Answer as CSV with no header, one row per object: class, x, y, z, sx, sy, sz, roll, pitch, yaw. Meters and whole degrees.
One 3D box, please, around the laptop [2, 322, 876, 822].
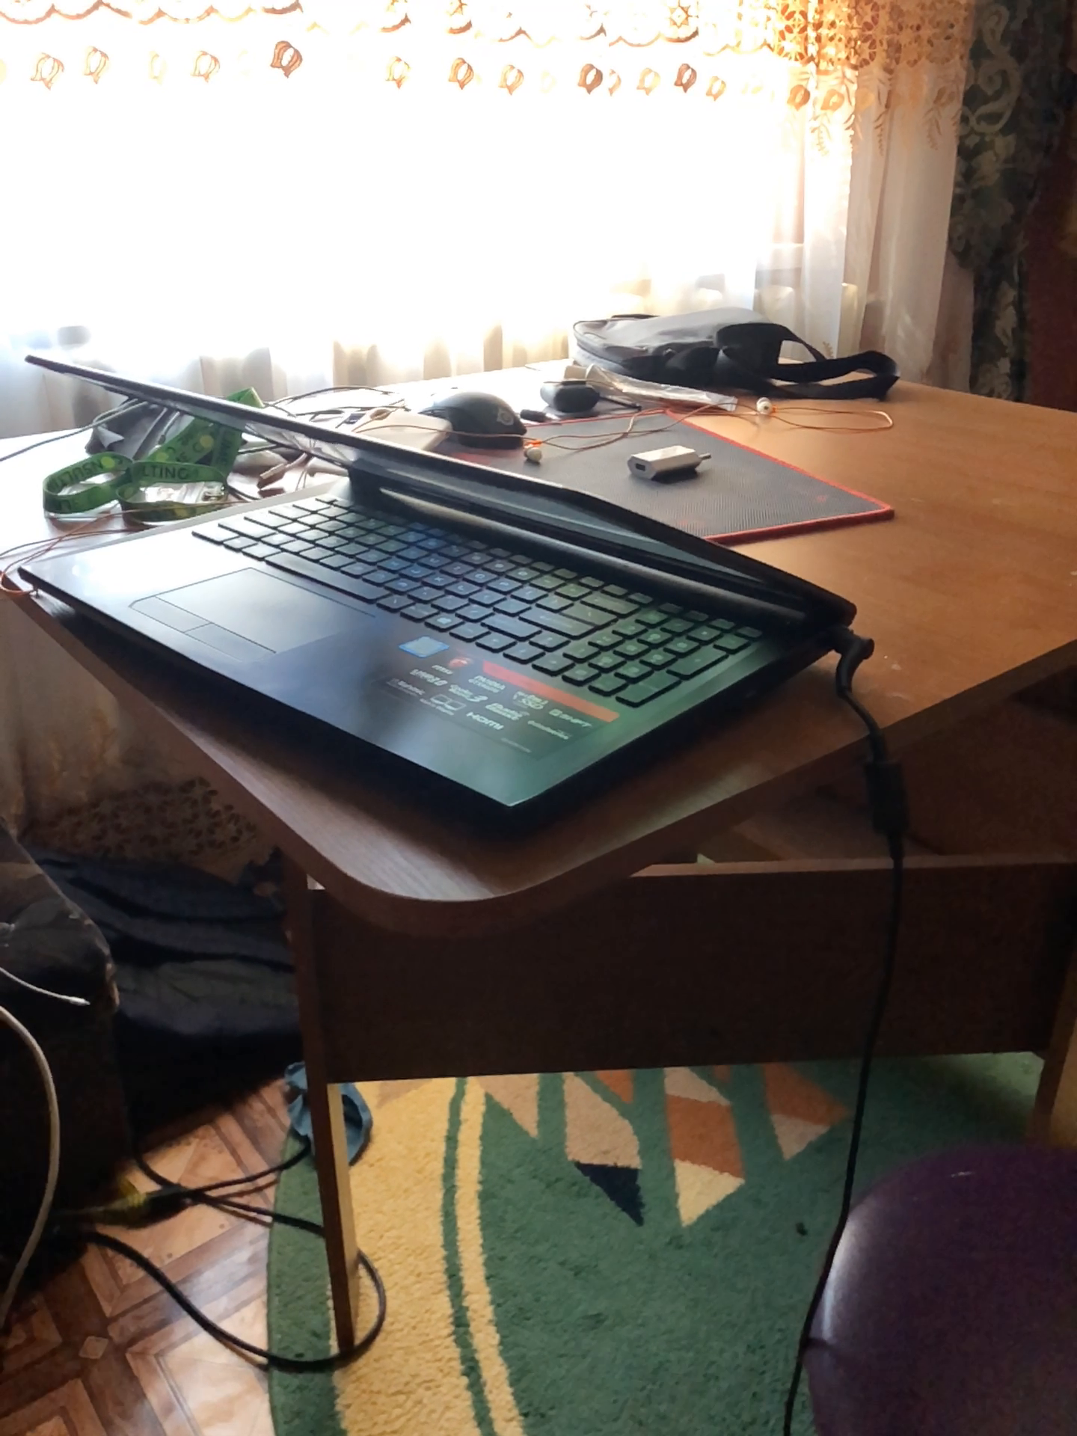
laptop,-0.063,-0.109,0.576,0.373,0.095,0.239,23,36,40
